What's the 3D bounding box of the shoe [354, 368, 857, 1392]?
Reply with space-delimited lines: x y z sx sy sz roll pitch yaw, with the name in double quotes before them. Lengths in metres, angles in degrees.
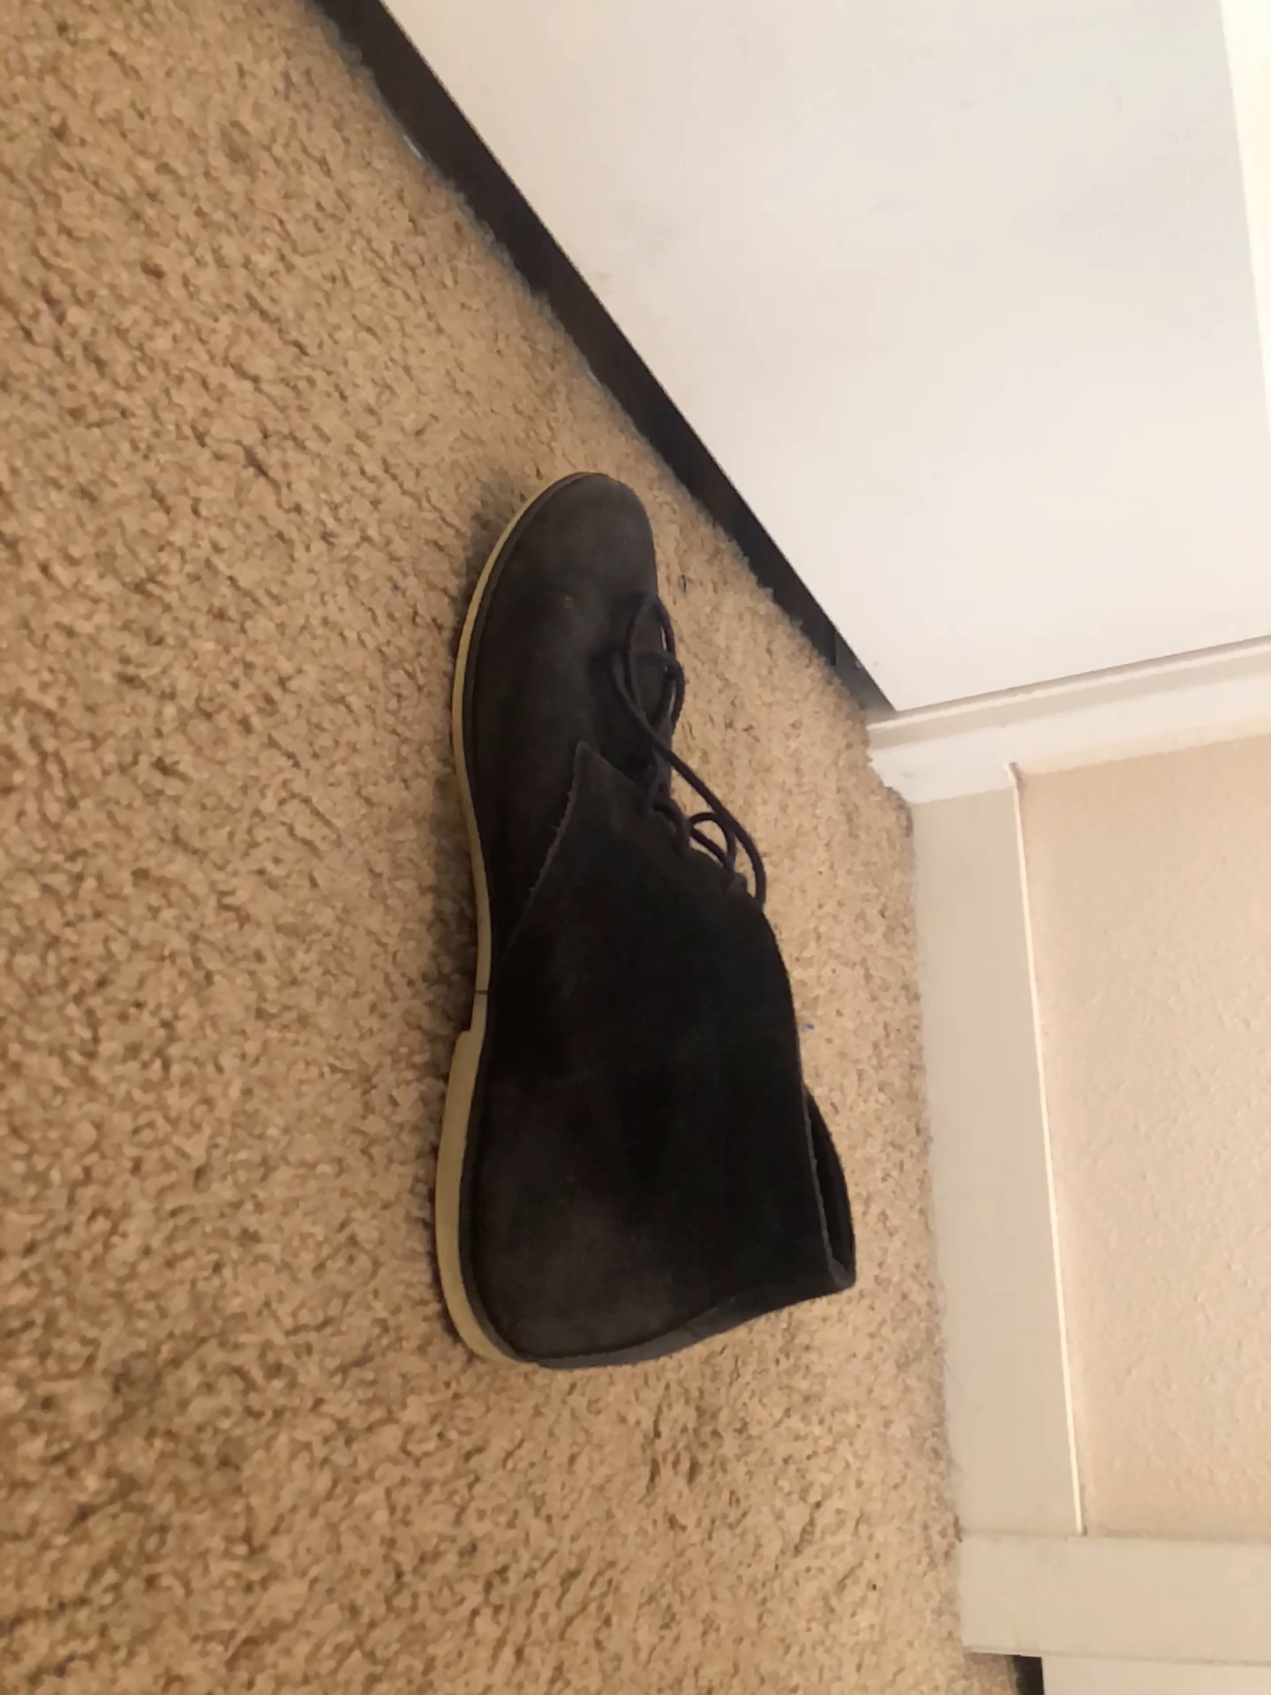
"shoe" 0.000 0.012 0.421 0.103 0.094 0.279 39 47 -55
